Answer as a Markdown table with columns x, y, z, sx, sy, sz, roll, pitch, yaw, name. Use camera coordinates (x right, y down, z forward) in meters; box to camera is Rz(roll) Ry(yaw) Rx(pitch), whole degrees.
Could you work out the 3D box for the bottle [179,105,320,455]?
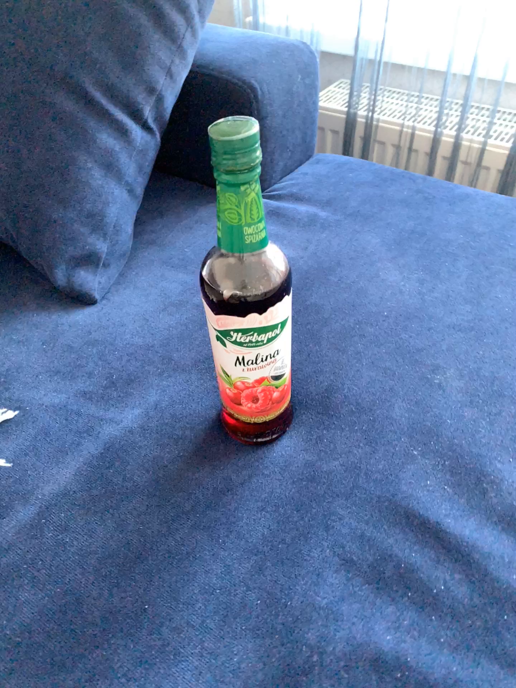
| x | y | z | sx | sy | sz | roll | pitch | yaw | name |
| --- | --- | --- | --- | --- | --- | --- | --- | --- | --- |
| -0.004 | -0.025 | 0.374 | 0.070 | 0.249 | 0.070 | -1 | 44 | 1 | bottle |
